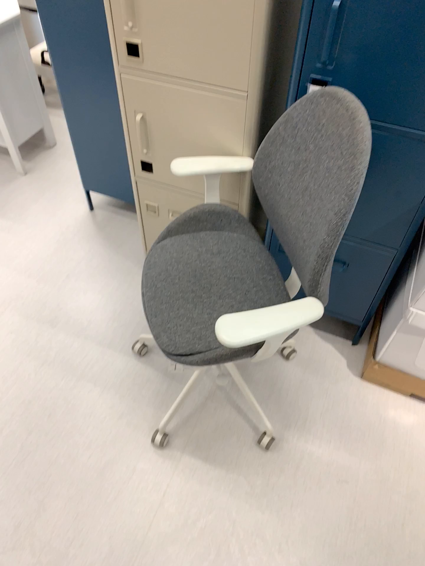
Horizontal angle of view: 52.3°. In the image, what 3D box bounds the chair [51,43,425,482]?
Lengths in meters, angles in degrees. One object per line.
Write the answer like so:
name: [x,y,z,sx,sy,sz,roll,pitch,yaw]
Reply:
chair: [0.031,0.009,1.222,0.670,0.996,0.653,-9,51,-8]
